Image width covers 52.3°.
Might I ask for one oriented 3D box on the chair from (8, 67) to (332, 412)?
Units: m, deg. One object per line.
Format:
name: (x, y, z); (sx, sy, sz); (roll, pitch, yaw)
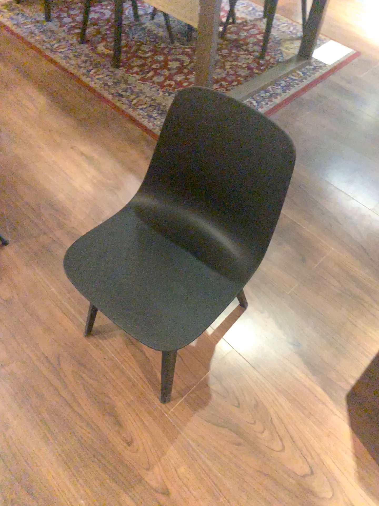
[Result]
chair: (-0.039, 0.001, 1.103); (0.440, 0.718, 0.531); (35, 59, 19)
